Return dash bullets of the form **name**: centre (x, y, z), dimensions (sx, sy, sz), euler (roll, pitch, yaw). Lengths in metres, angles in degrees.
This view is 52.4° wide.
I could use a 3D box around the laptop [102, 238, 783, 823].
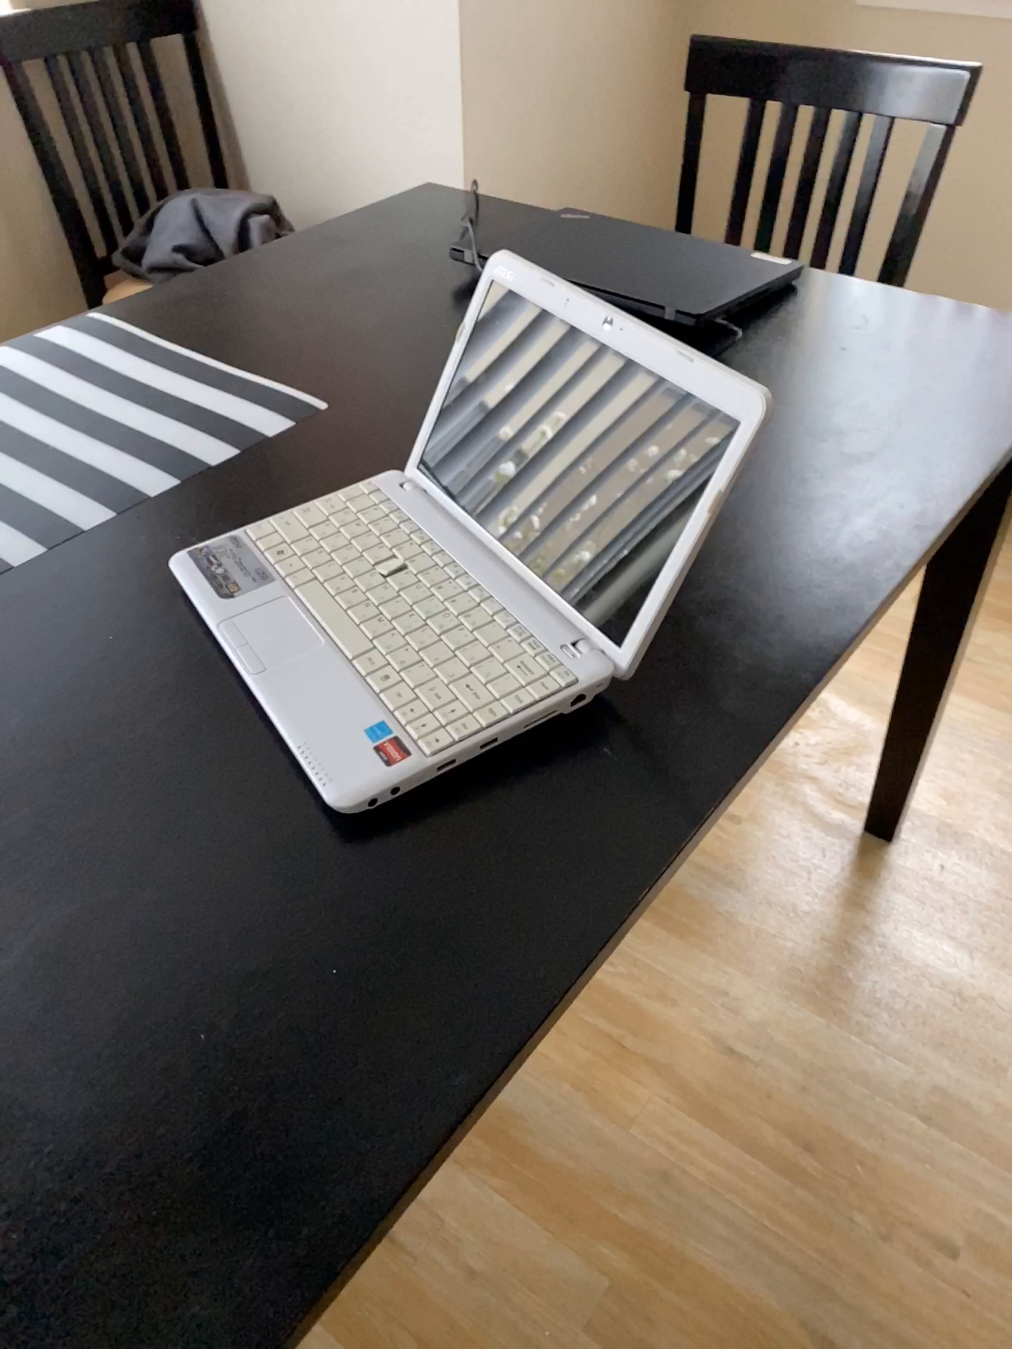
- **laptop**: centre (-0.051, -0.120, 0.659), dimensions (0.301, 0.153, 0.296), euler (-25, 46, -21)
